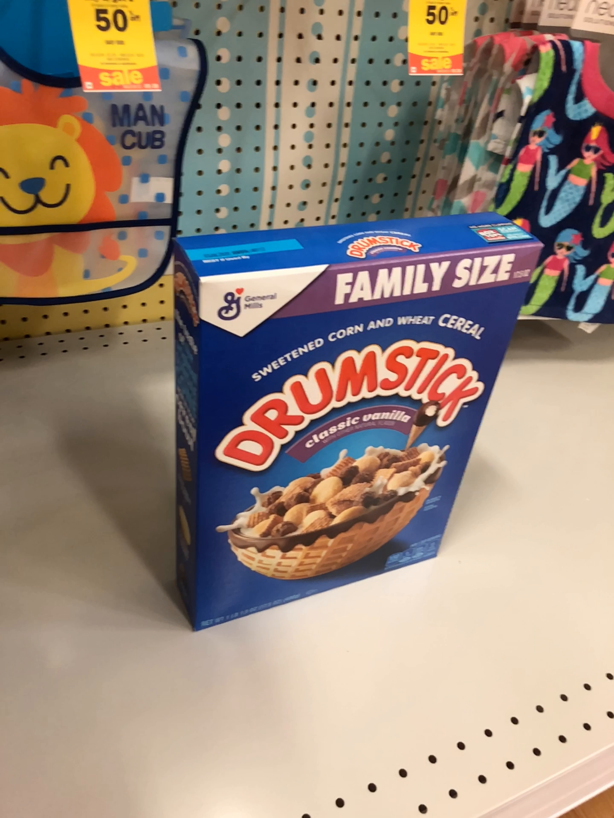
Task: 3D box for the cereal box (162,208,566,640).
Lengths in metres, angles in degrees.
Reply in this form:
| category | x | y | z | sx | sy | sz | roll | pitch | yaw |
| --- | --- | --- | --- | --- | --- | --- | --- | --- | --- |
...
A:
| category | x | y | z | sx | sy | sz | roll | pitch | yaw |
| --- | --- | --- | --- | --- | --- | --- | --- | --- | --- |
| cereal box | 0.029 | 0.016 | 0.509 | 0.250 | 0.299 | 0.070 | -11 | 40 | -23 |
